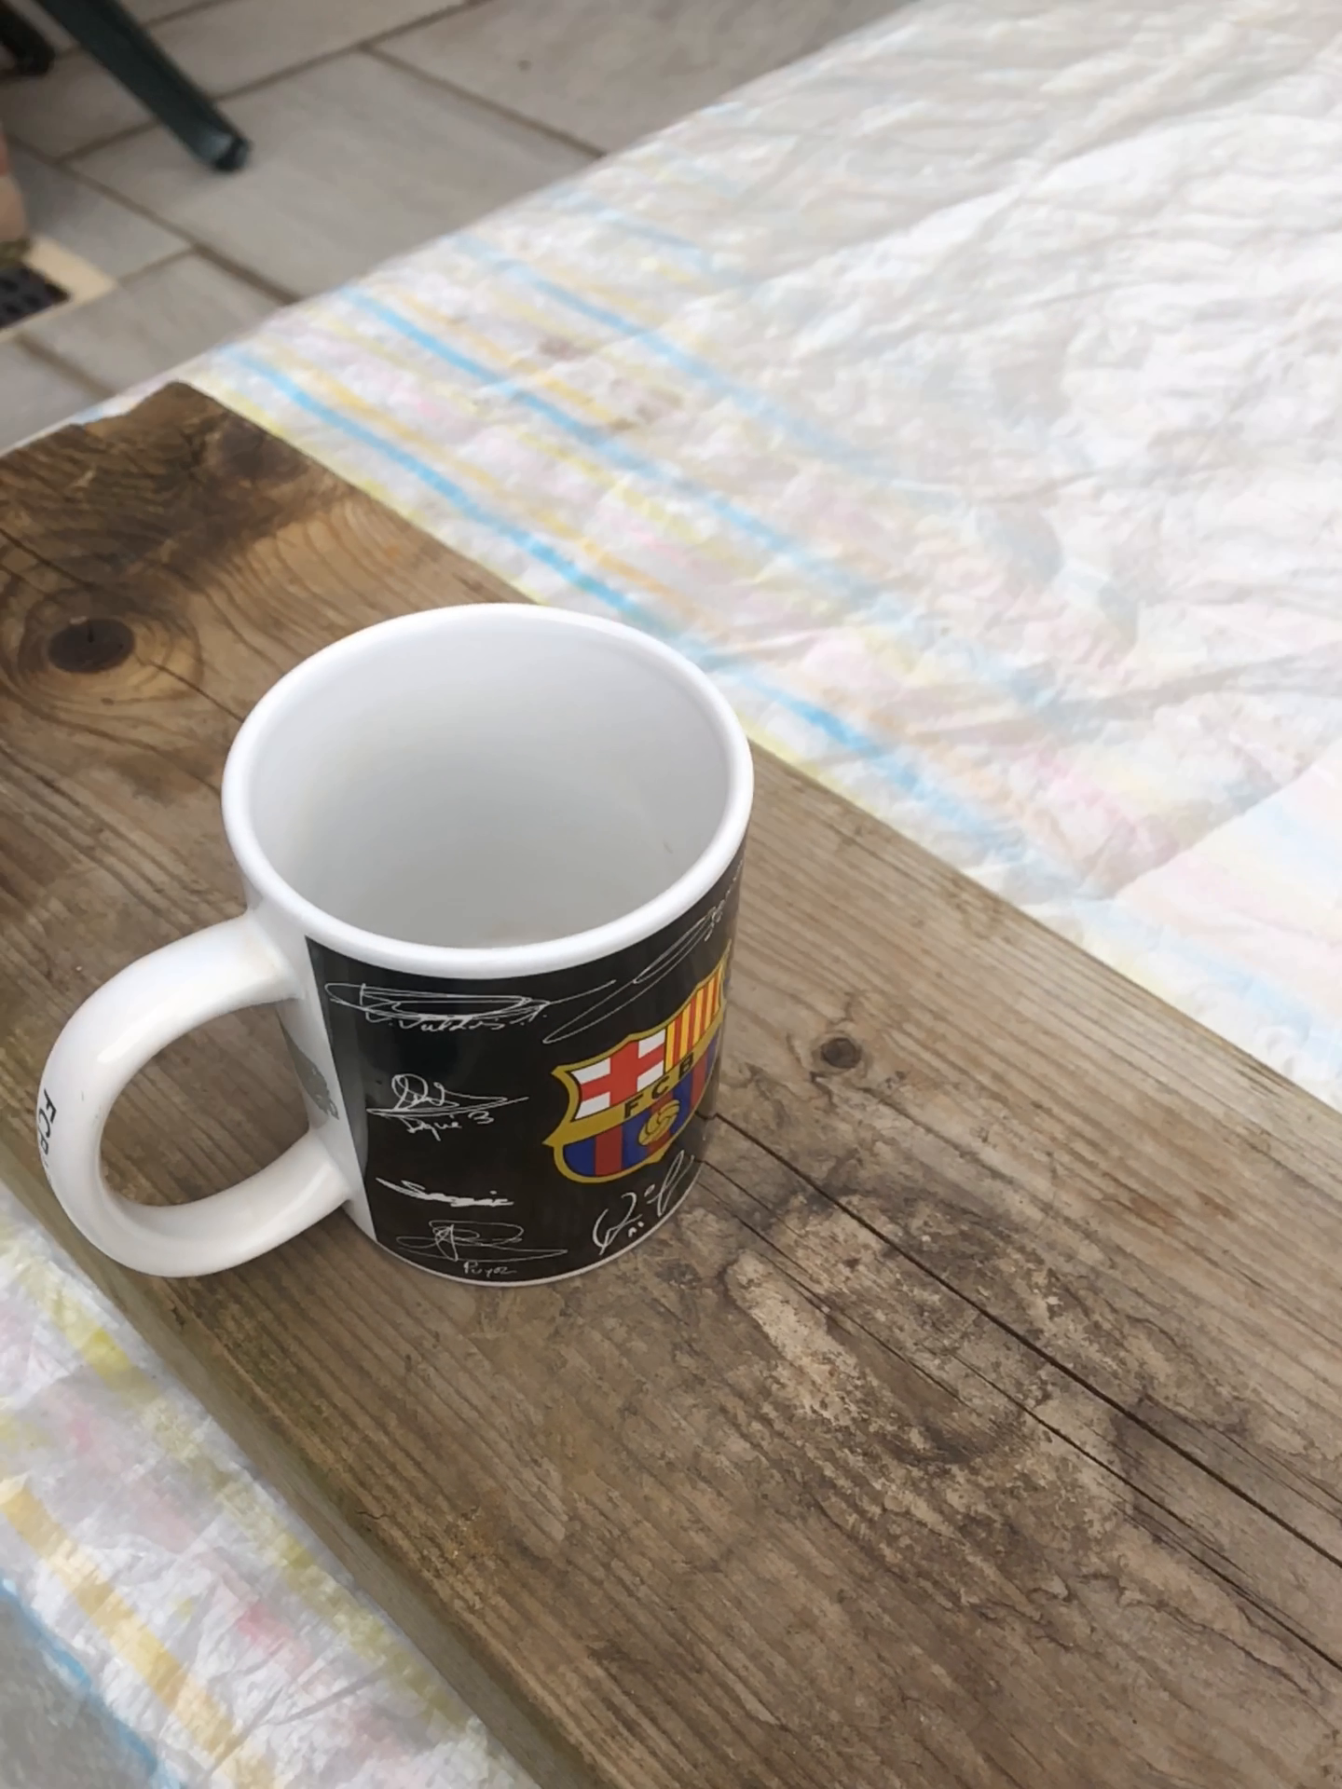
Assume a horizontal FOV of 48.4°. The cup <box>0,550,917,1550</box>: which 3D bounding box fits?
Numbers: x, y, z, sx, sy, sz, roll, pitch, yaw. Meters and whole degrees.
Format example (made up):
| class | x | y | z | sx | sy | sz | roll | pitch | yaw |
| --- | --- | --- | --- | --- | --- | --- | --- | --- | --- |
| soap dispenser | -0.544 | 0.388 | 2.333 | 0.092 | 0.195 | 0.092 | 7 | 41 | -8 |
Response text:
| class | x | y | z | sx | sy | sz | roll | pitch | yaw |
| --- | --- | --- | --- | --- | --- | --- | --- | --- | --- |
| cup | -0.043 | 0.022 | 0.261 | 0.130 | 0.089 | 0.090 | -29 | 58 | -25 |
